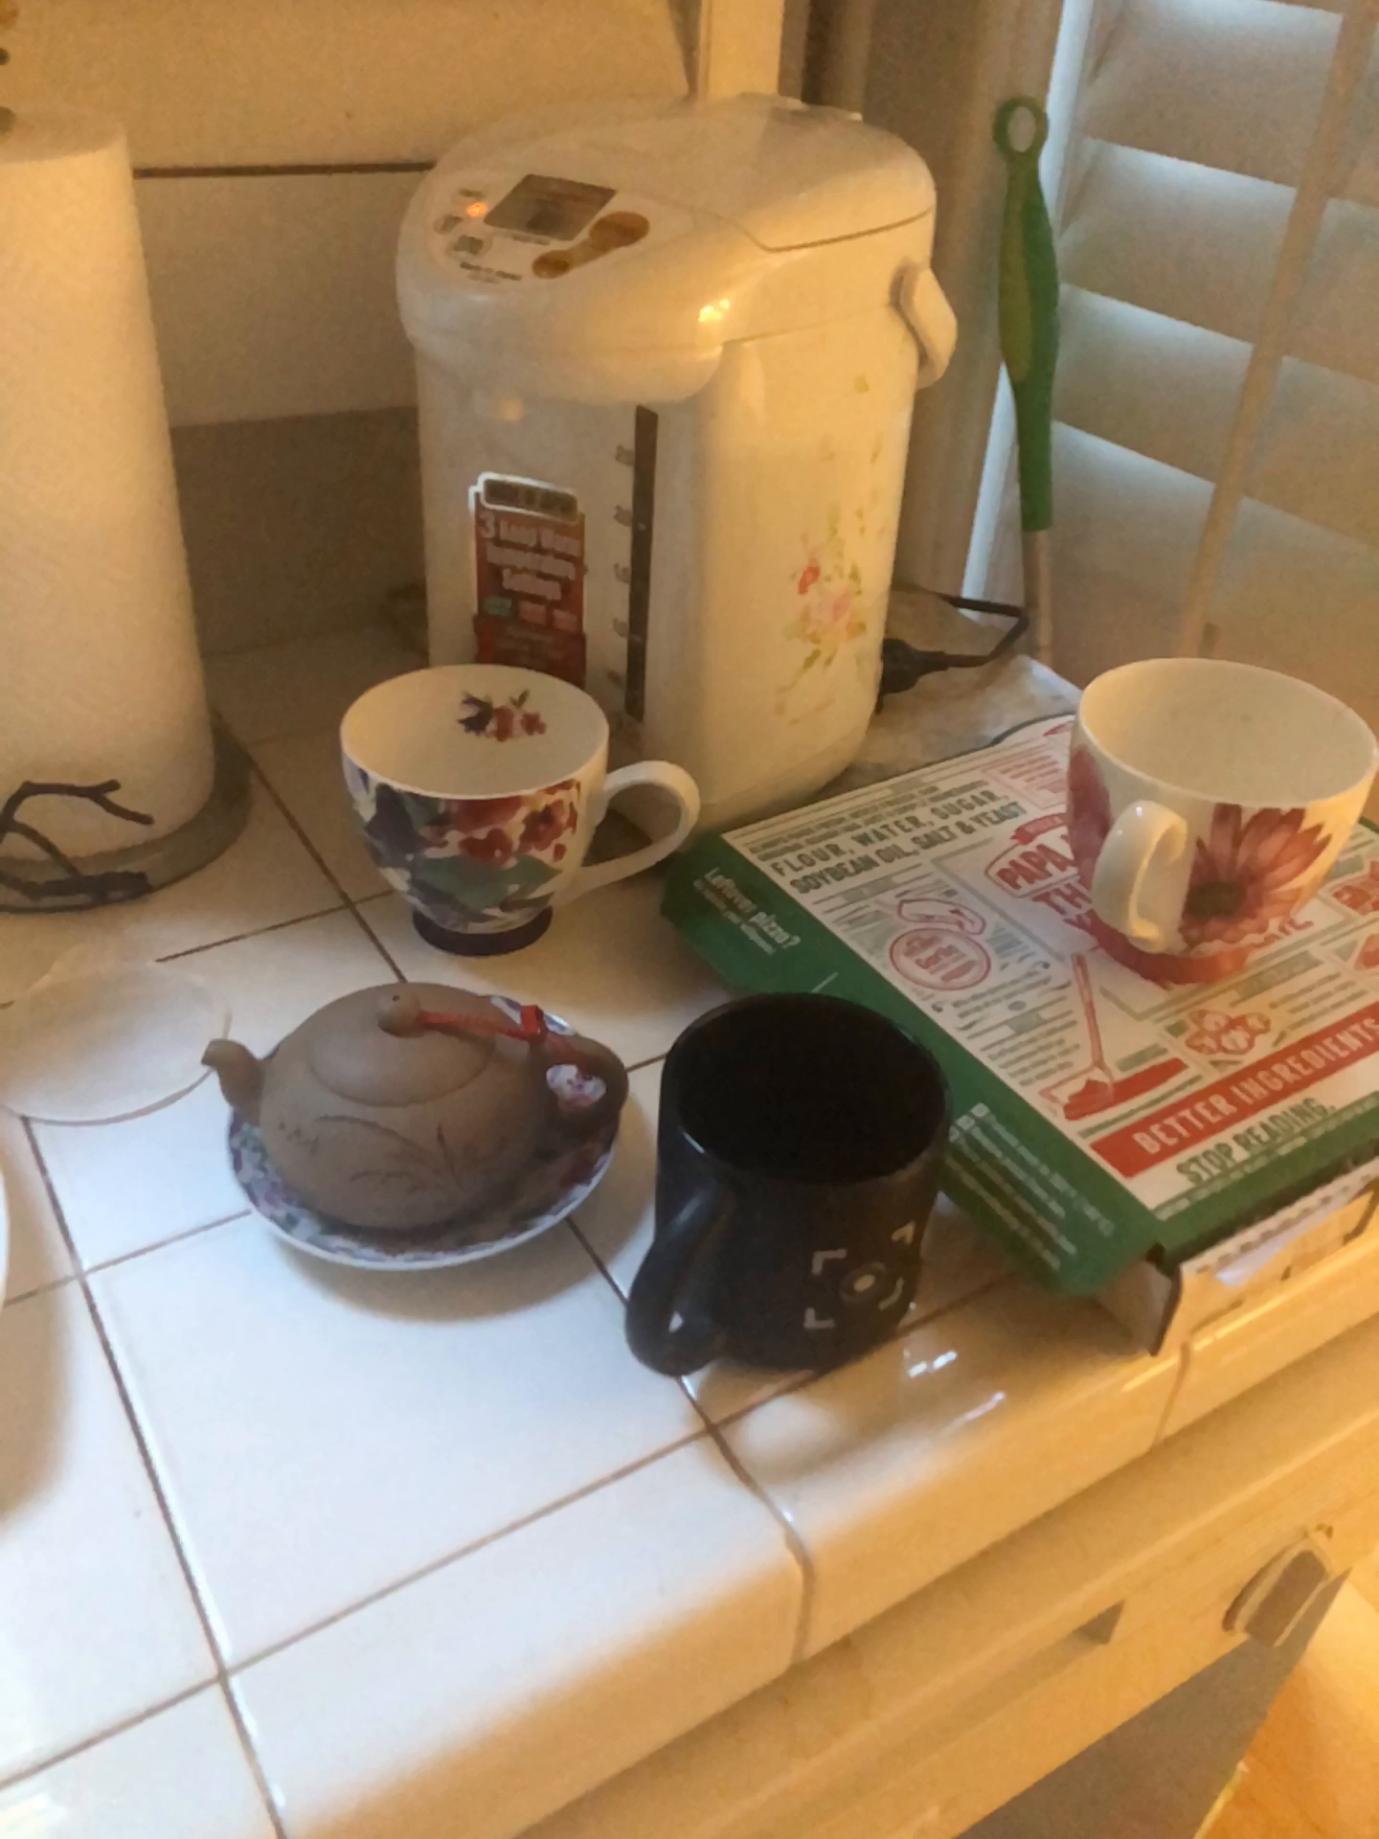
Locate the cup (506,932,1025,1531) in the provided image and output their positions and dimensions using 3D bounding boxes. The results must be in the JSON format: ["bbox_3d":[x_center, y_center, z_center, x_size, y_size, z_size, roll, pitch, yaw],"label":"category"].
[{"bbox_3d":[0.024,0.093,0.491,0.090,0.099,0.141,29,43,30],"label":"cup"}]

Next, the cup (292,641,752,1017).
[{"bbox_3d":[-0.066,-0.042,0.646,0.160,0.089,0.111,10,37,8],"label":"cup"}]

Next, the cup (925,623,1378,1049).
[{"bbox_3d":[0.182,-0.039,0.570,0.110,0.069,0.151,31,44,32],"label":"cup"}]
